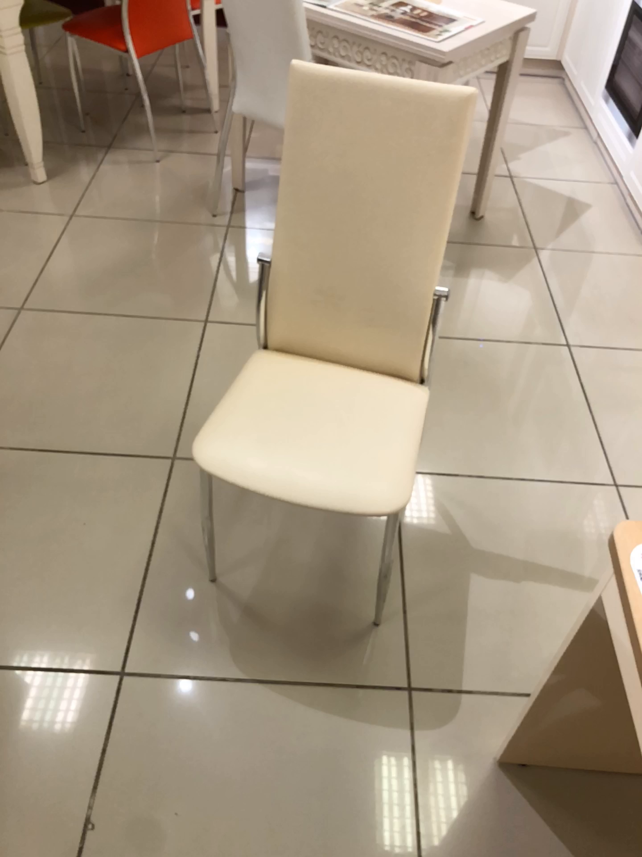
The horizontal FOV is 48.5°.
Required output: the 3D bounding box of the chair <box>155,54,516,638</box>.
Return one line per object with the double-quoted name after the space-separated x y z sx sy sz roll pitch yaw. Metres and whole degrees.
0.027 -0.109 1.416 0.430 0.975 0.502 14 45 9 "chair"
